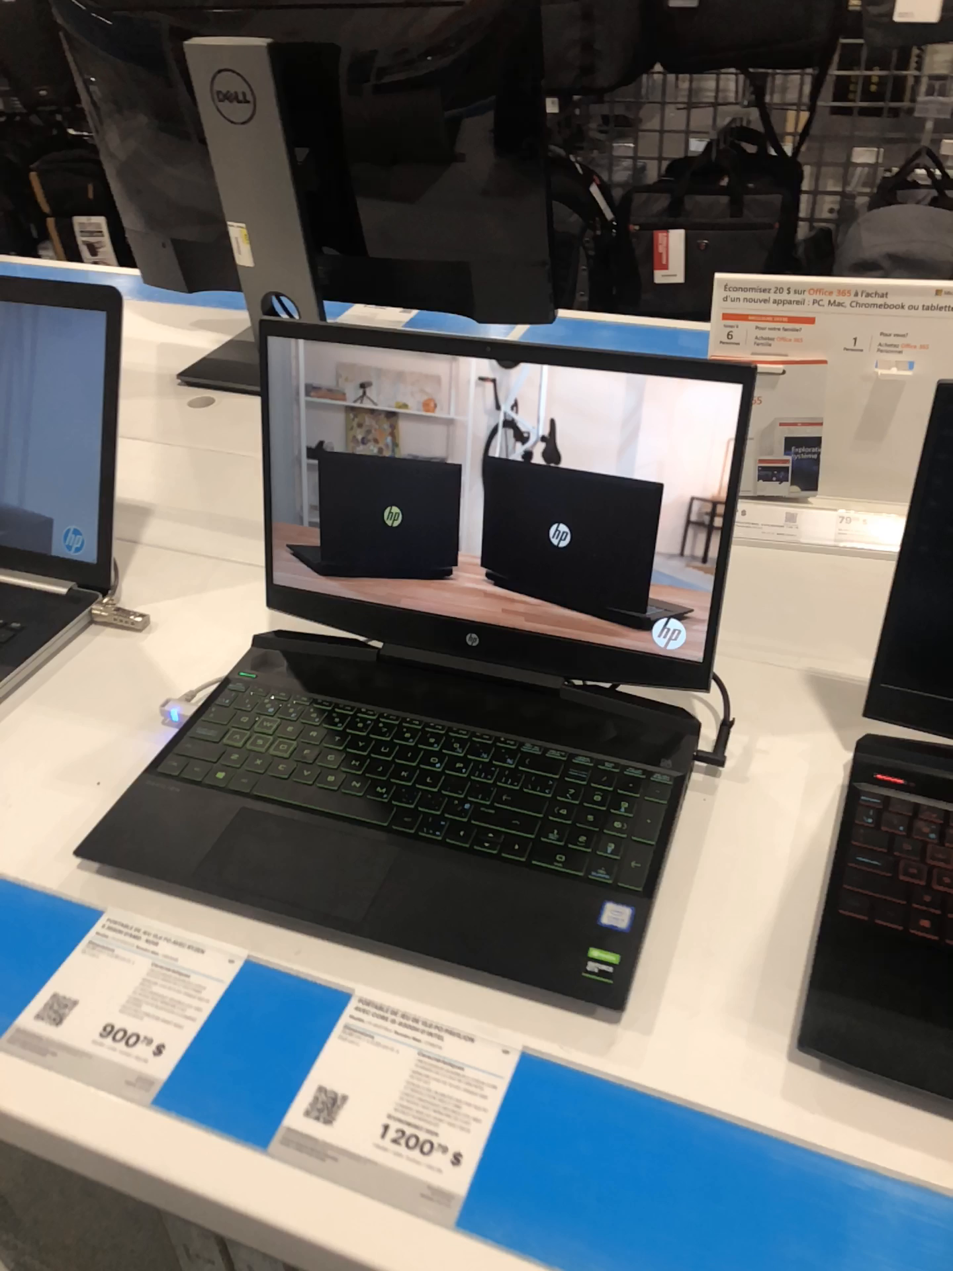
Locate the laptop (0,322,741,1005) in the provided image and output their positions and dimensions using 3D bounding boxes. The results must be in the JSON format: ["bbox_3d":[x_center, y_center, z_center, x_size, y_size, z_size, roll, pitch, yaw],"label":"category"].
[{"bbox_3d":[-0.043,-0.016,0.669,0.355,0.232,0.317,11,37,16],"label":"laptop"}]
